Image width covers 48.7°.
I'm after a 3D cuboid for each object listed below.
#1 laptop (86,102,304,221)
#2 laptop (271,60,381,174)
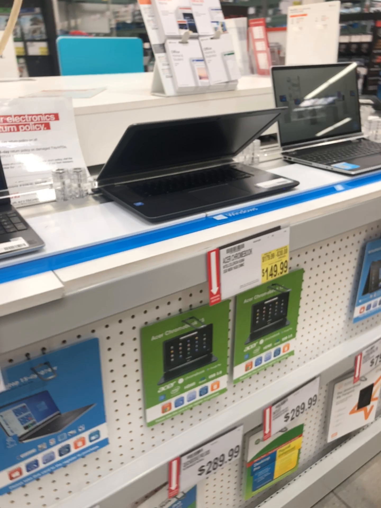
[{"bbox_3d":[0.012,-0.206,0.848,0.365,0.136,0.220,-17,31,-29],"label":"laptop"},{"bbox_3d":[0.431,-0.379,1.107,0.317,0.208,0.292,-16,29,-24],"label":"laptop"}]
